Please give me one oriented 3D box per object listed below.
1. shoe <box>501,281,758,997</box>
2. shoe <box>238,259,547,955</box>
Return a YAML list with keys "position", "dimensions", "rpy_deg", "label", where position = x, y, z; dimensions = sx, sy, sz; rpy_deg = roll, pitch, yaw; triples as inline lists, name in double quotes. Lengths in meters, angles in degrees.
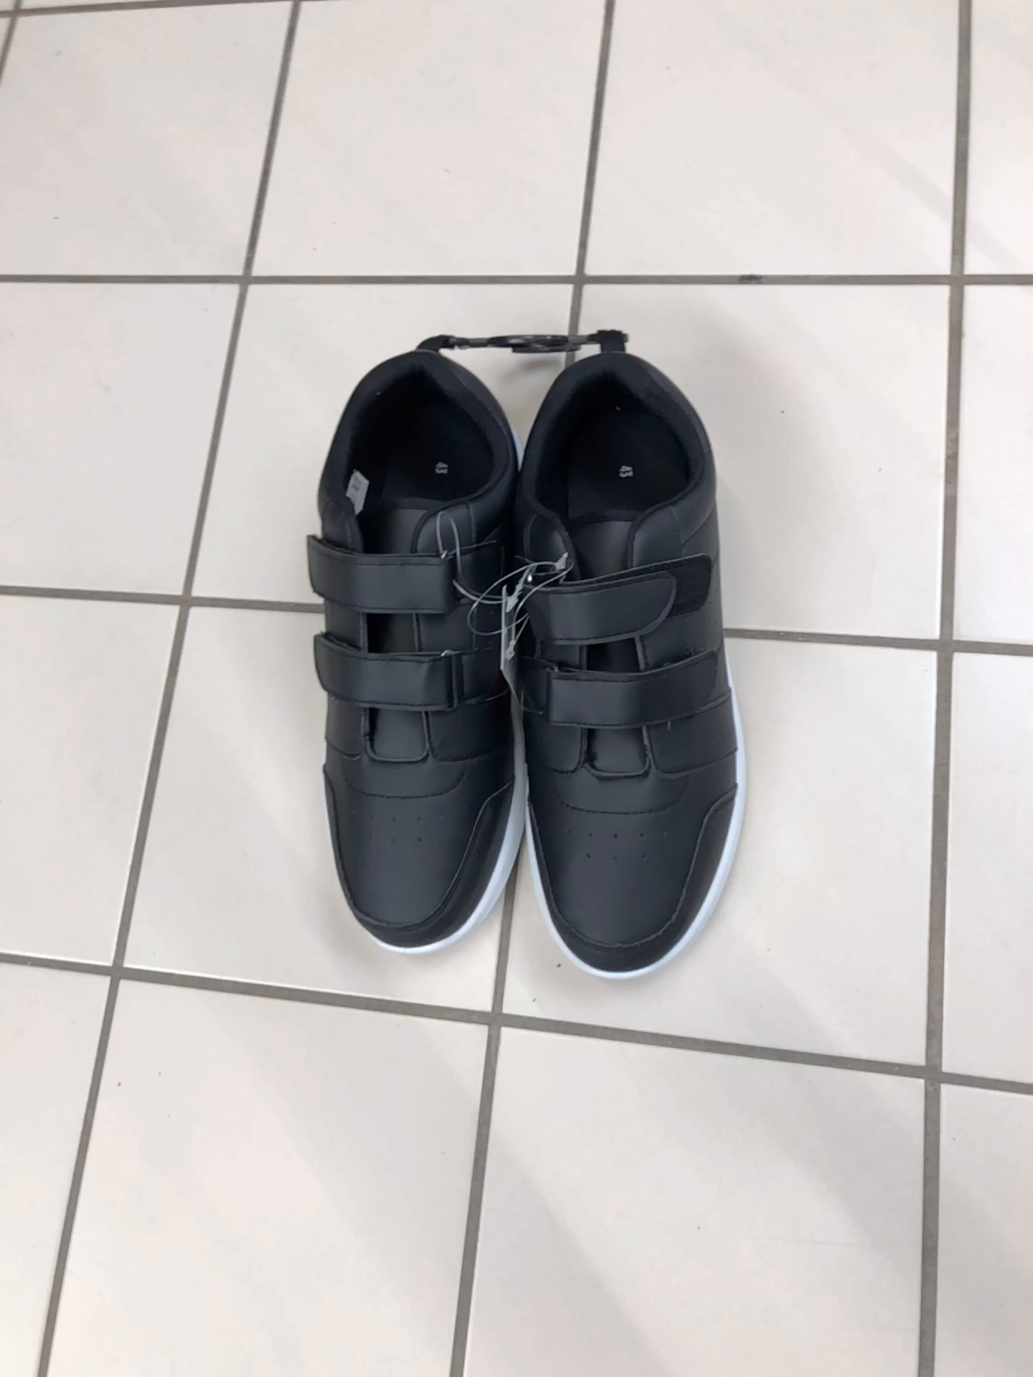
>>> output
- position: [0.055, -0.019, 0.529]
  dimensions: [0.100, 0.100, 0.310]
  rpy_deg: [-1, 76, 10]
  label: "shoe"
- position: [-0.049, -0.035, 0.542]
  dimensions: [0.100, 0.100, 0.310]
  rpy_deg: [0, 76, 10]
  label: "shoe"
